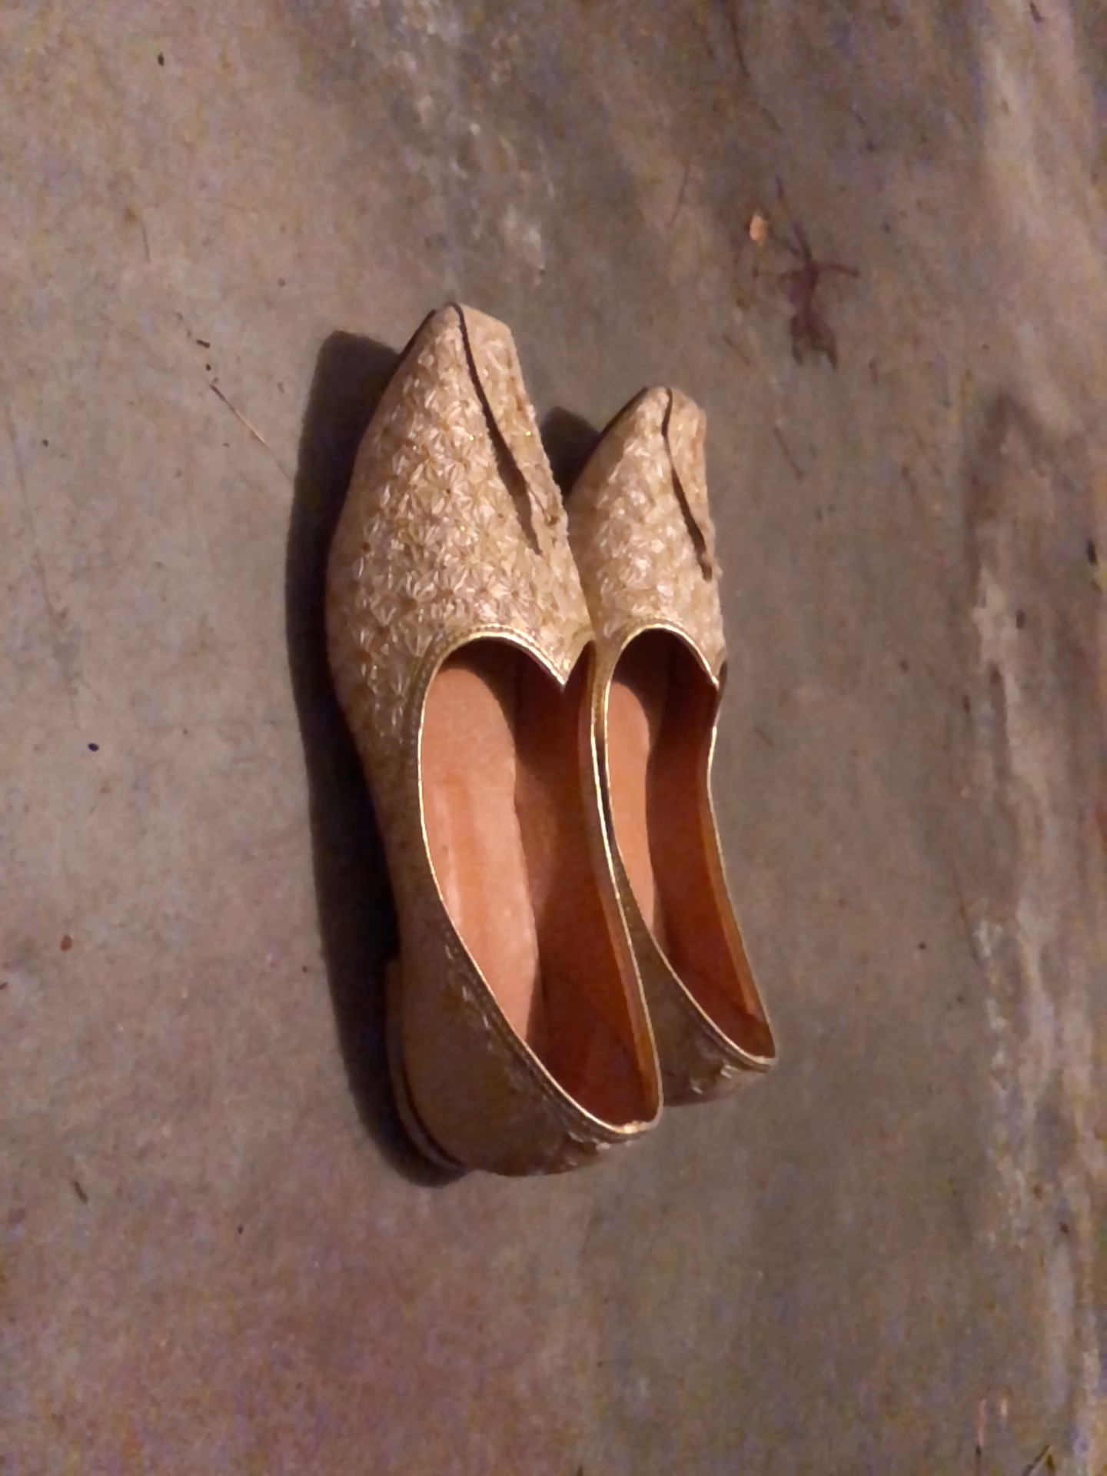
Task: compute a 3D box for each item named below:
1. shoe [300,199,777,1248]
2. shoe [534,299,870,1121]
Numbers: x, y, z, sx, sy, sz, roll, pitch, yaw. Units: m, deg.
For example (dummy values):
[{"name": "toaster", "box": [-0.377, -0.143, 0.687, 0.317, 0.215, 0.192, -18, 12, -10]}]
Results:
[{"name": "shoe", "box": [-0.003, -0.003, 0.382, 0.104, 0.073, 0.275, 0, 83, -53]}, {"name": "shoe", "box": [0.056, -0.005, 0.459, 0.104, 0.073, 0.275, 17, 69, -50]}]
